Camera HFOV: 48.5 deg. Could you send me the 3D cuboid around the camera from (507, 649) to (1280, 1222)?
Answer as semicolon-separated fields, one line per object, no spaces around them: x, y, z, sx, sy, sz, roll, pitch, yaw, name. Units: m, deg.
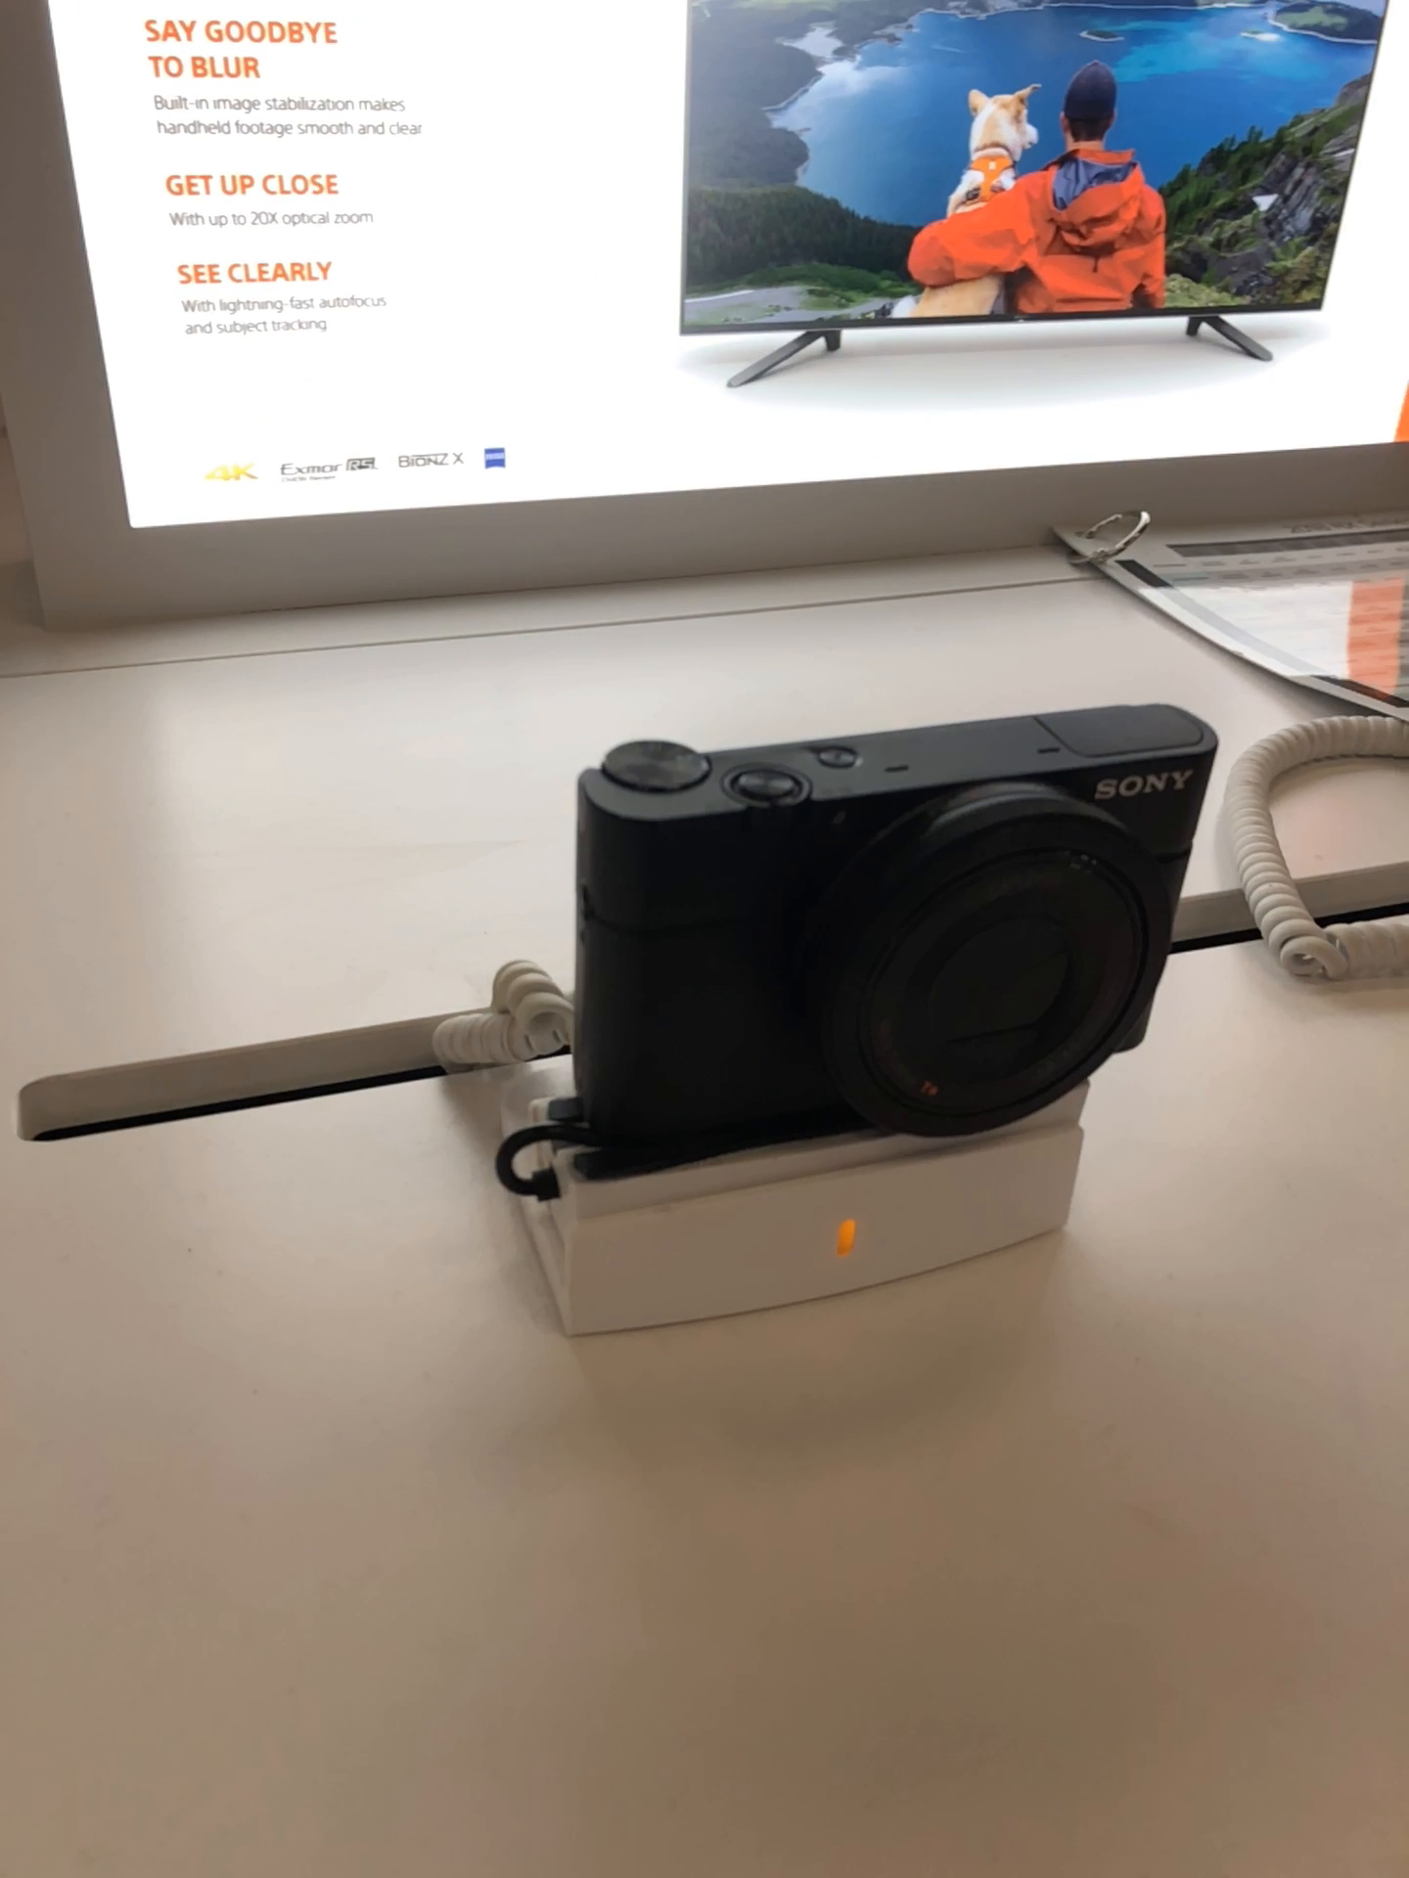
0.027;-0.002;0.246;0.110;0.070;0.030;-8;32;-17;camera
